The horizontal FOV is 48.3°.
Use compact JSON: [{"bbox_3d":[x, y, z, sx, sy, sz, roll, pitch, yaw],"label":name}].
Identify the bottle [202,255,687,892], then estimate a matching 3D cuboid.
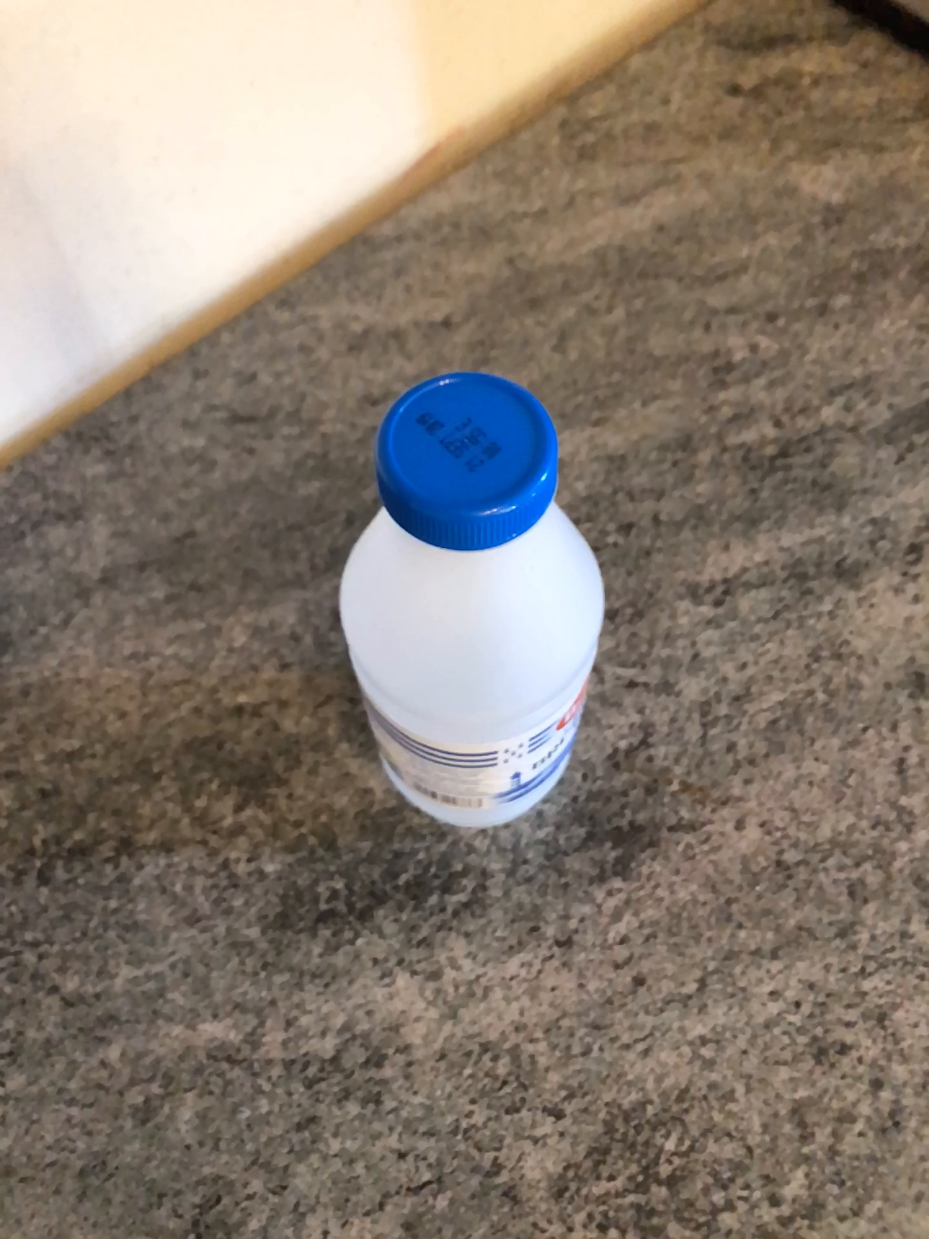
[{"bbox_3d":[0.001,0.008,0.363,0.090,0.239,0.090,-1,63,2],"label":"bottle"}]
